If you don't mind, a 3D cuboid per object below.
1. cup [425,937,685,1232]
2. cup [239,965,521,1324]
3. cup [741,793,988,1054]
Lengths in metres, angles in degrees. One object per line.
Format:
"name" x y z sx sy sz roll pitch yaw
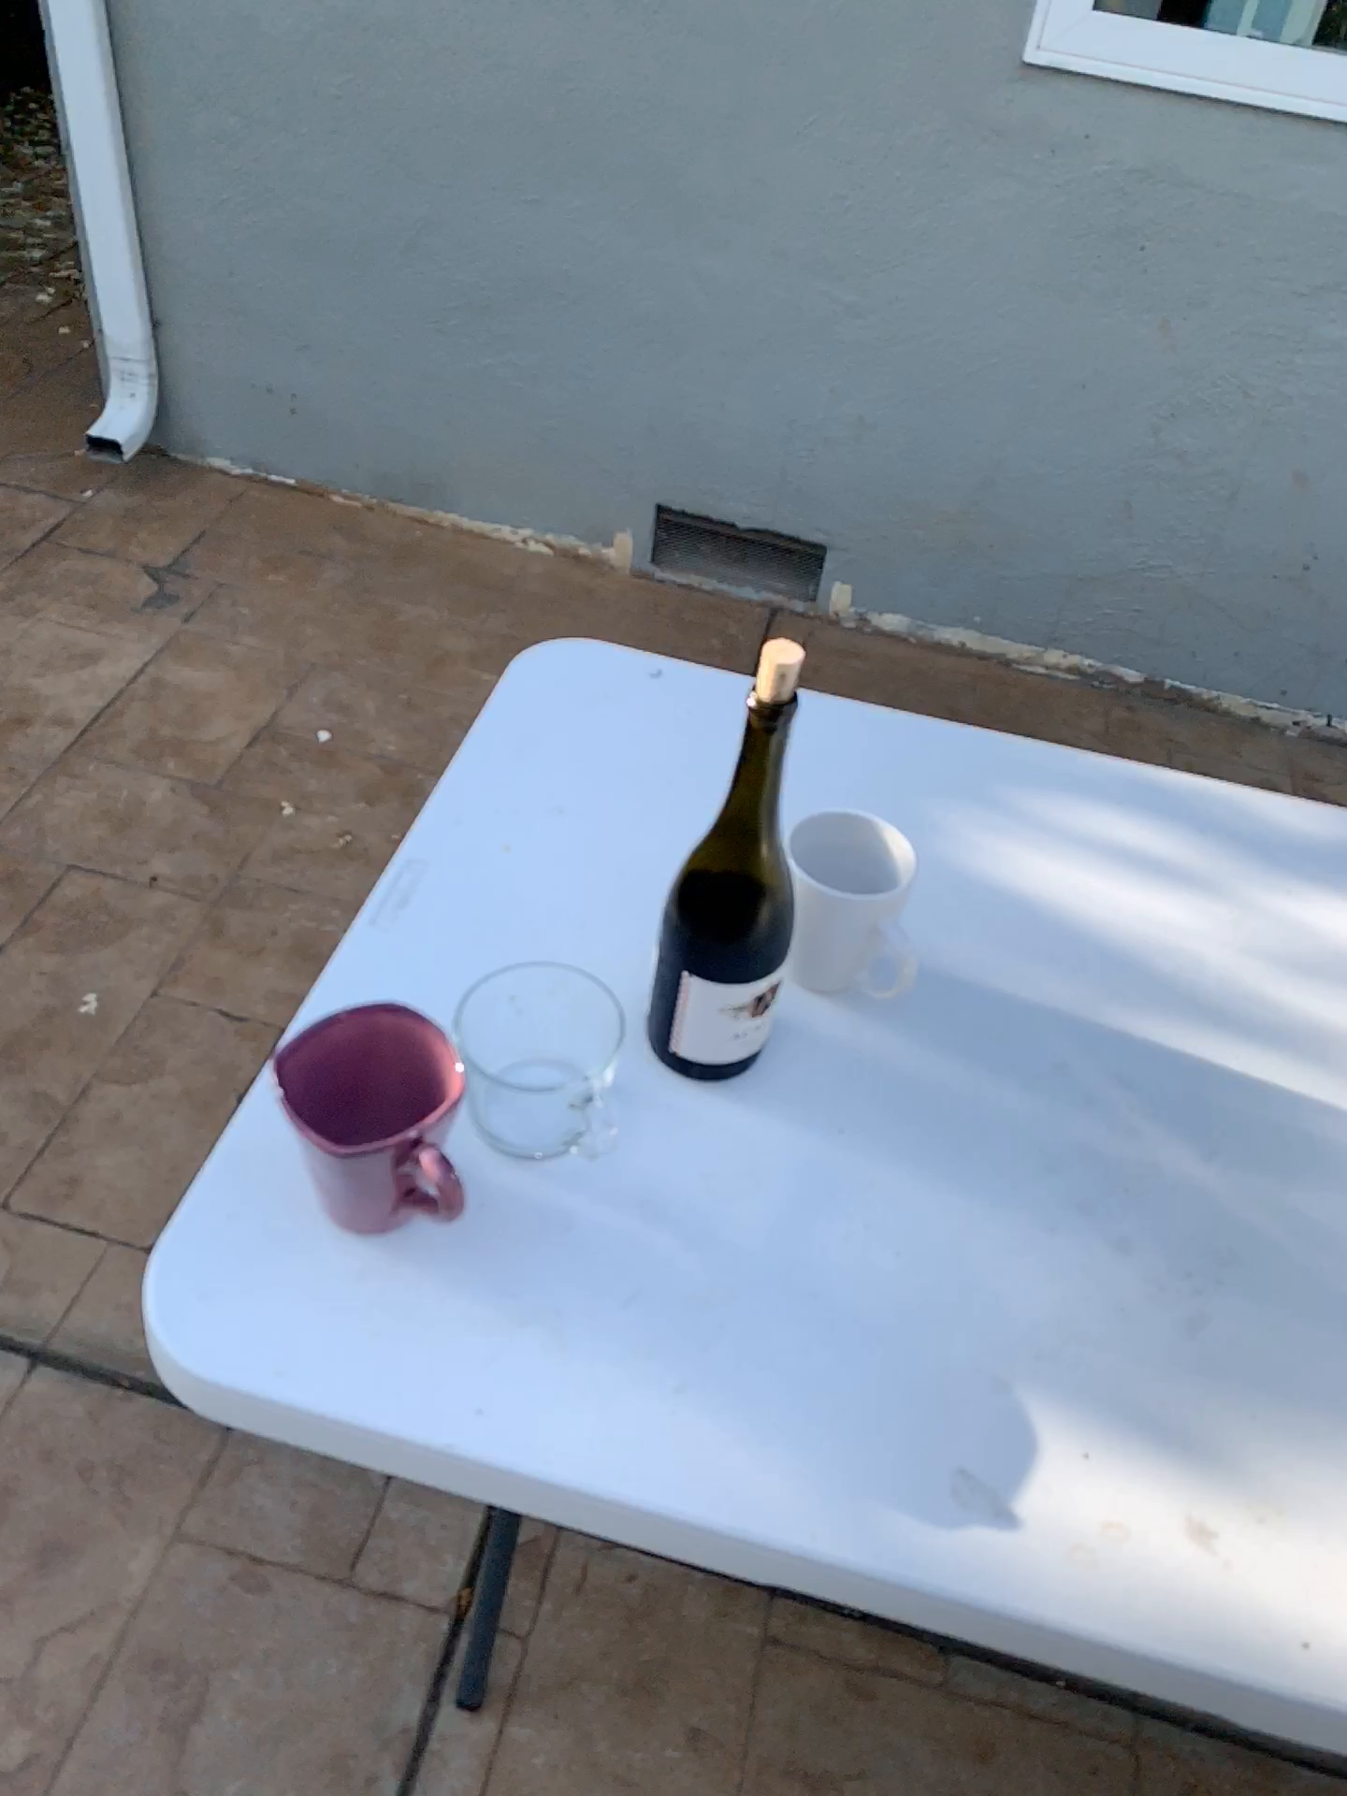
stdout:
"cup" -0.075 0.109 0.822 0.100 0.080 0.131 -20 50 -28
"cup" -0.163 0.134 0.755 0.100 0.109 0.131 -20 50 -28
"cup" 0.124 0.015 0.910 0.090 0.099 0.121 -20 50 -28
